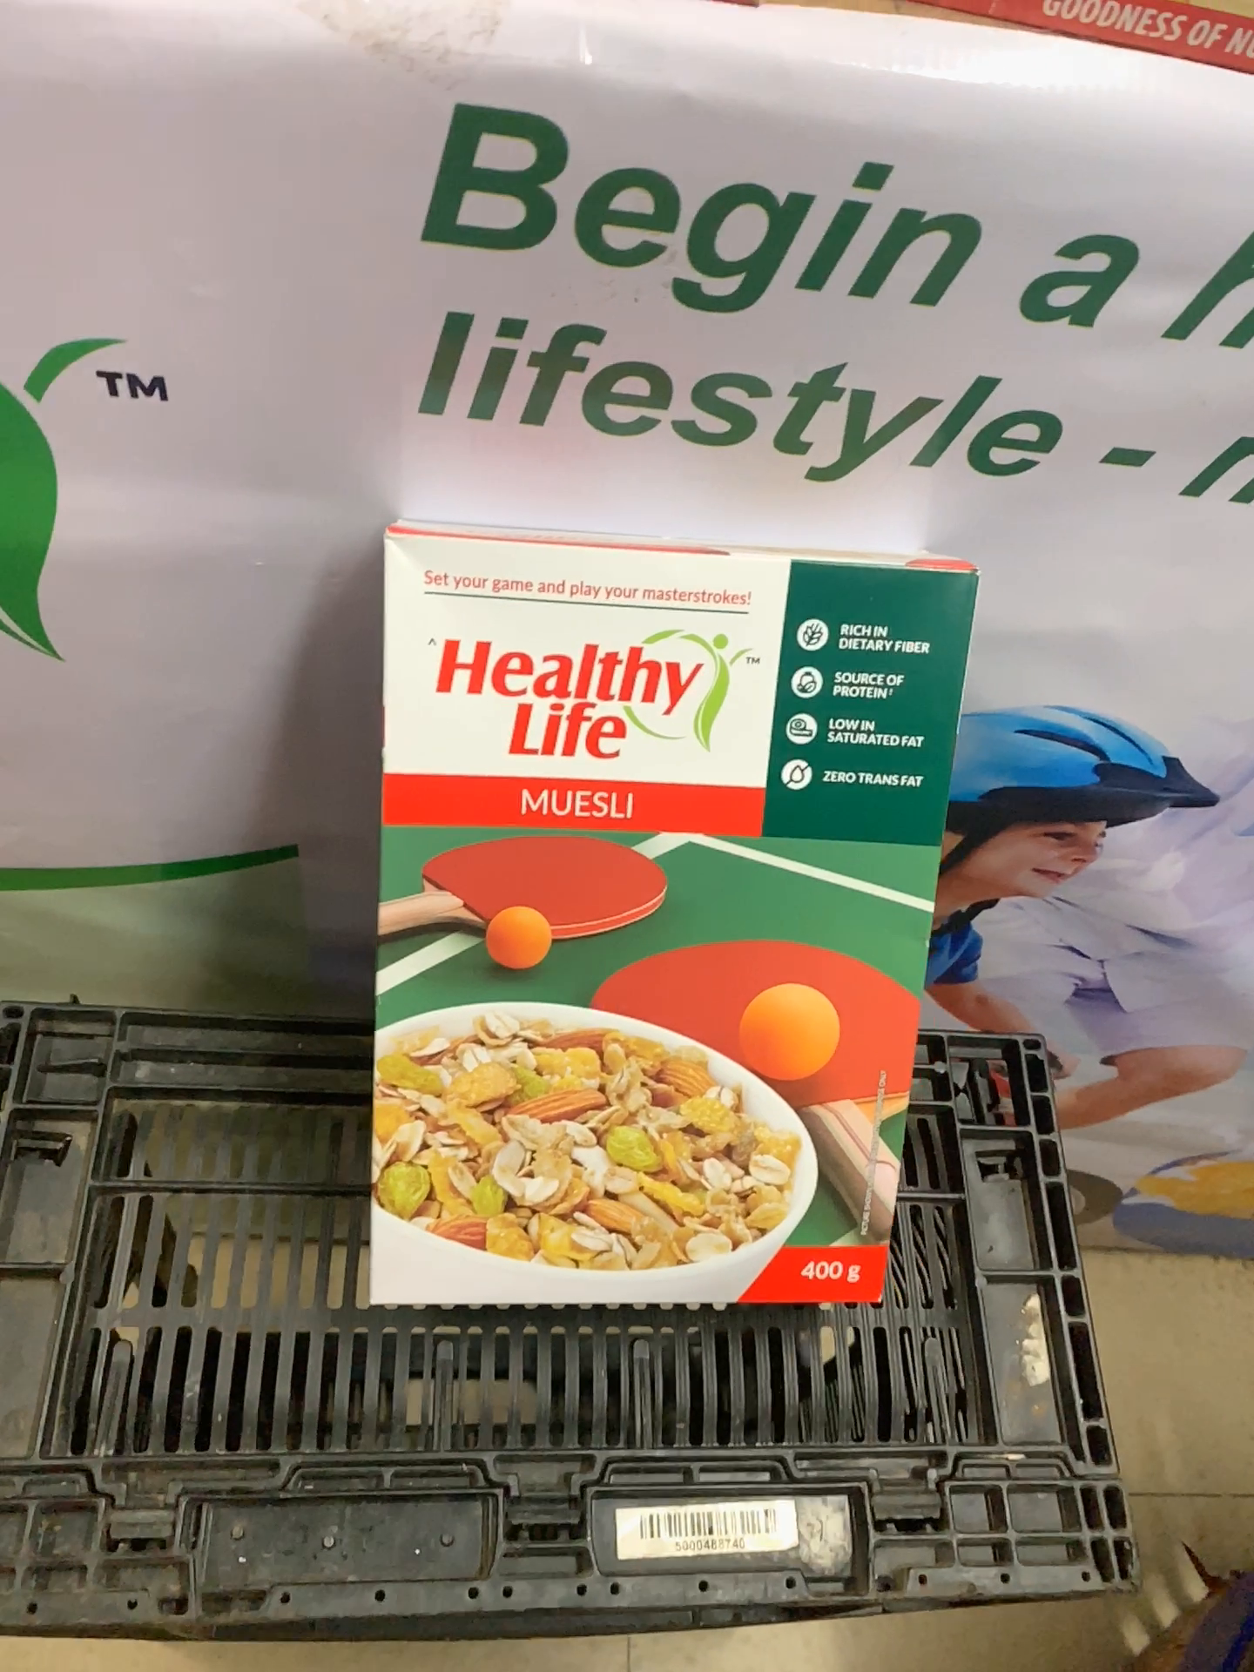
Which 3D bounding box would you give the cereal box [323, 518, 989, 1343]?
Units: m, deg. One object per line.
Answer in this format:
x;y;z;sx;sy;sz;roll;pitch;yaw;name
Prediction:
0.000;0.026;0.391;0.170;0.230;0.080;2;13;-6;cereal box
